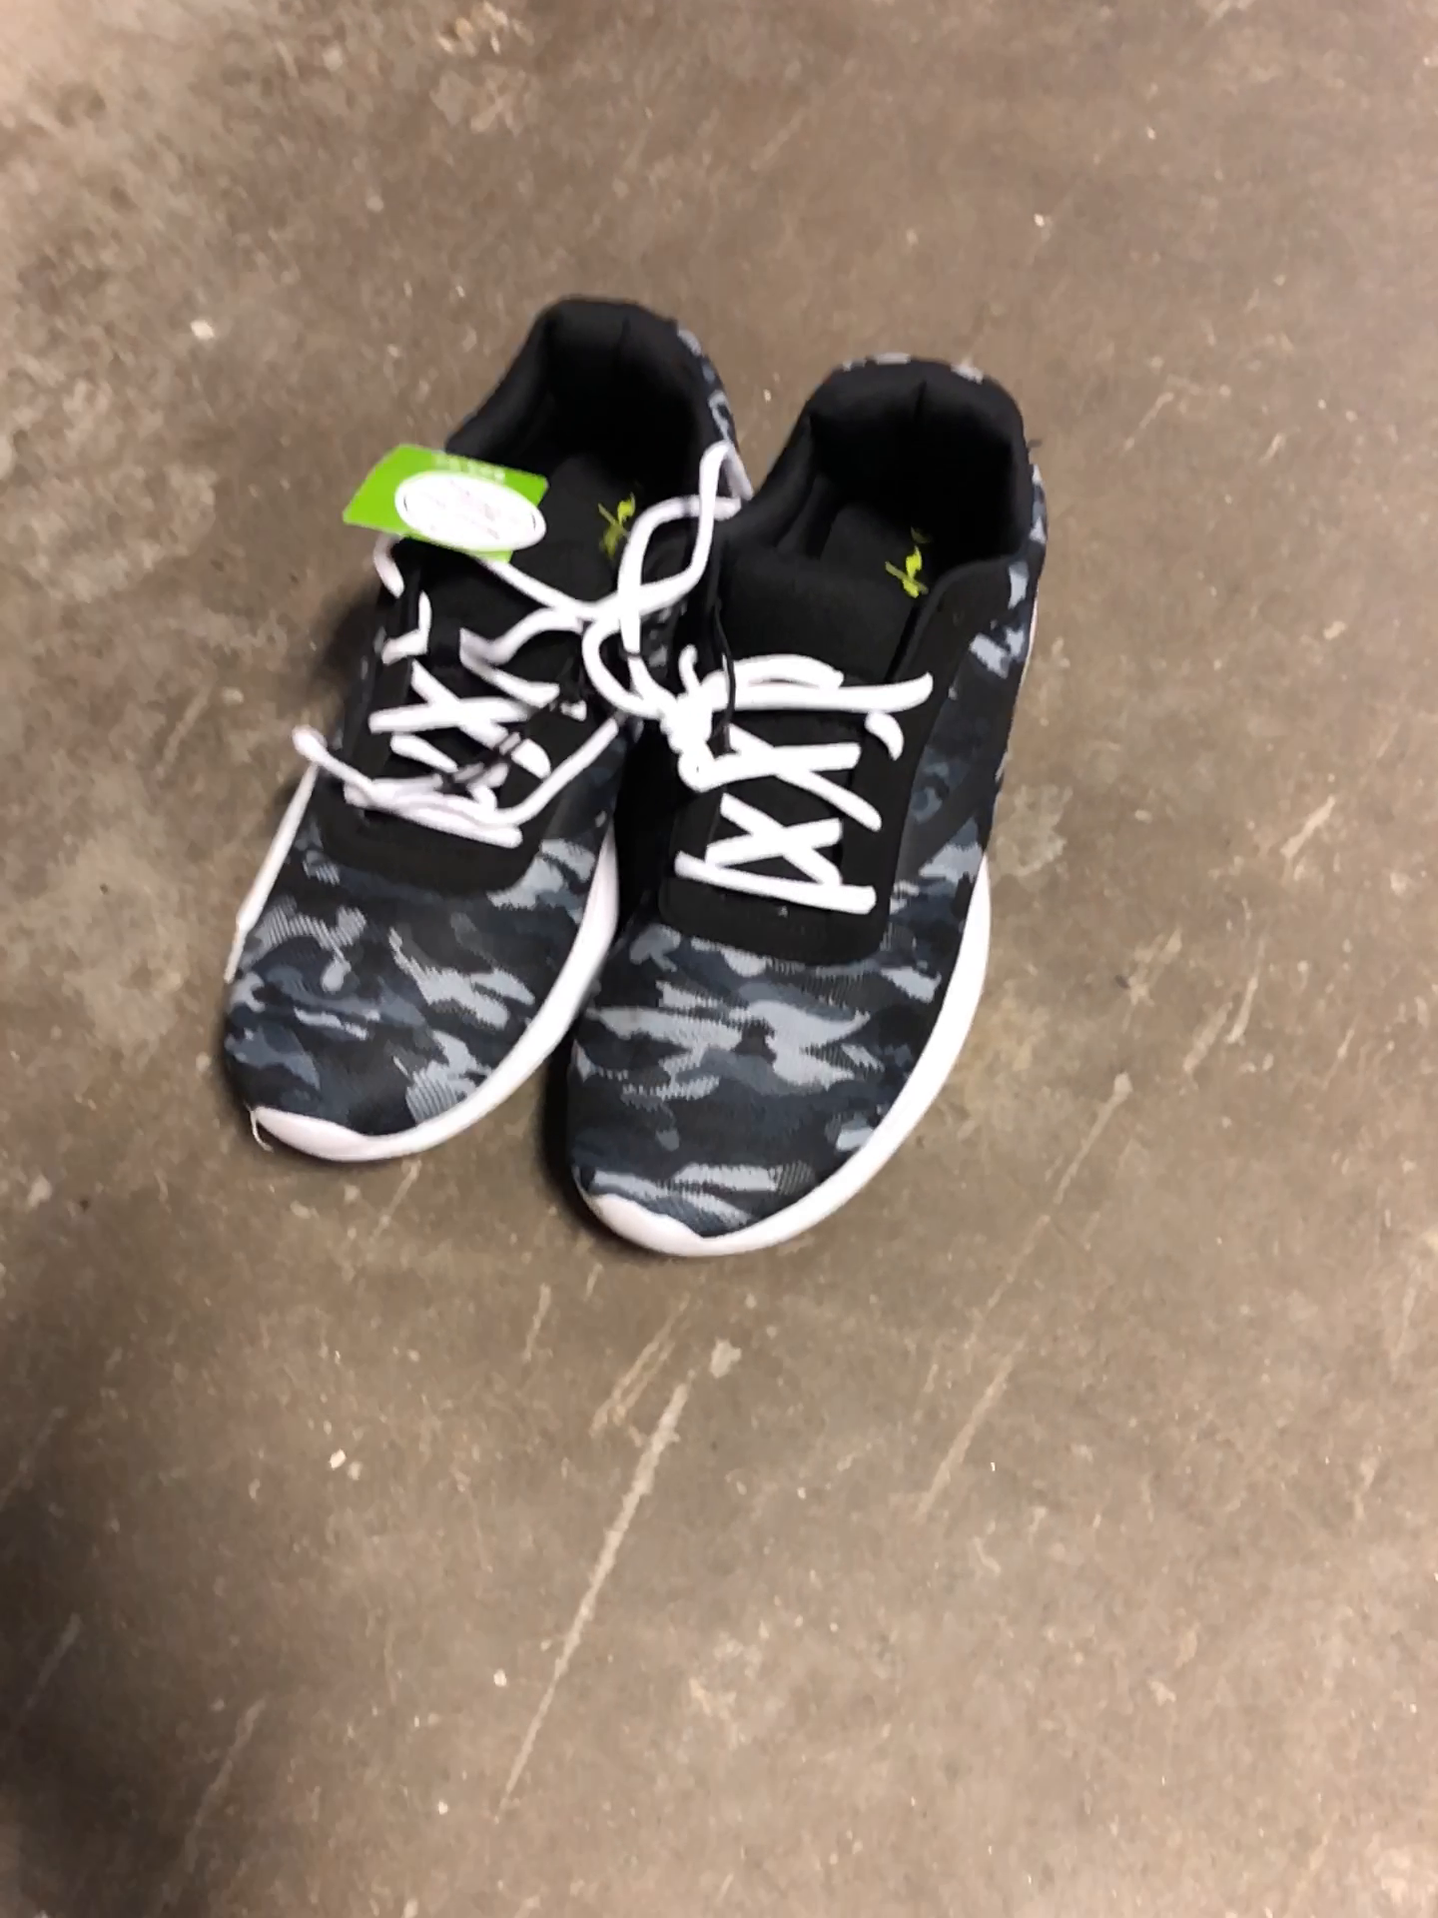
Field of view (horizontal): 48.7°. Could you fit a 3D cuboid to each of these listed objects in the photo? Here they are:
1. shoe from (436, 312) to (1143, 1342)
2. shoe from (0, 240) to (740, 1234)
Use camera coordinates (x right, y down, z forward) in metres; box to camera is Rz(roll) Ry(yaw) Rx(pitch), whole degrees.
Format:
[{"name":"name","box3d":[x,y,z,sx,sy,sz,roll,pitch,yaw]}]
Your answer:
[{"name":"shoe","box3d":[0.032,-0.044,0.485,0.120,0.139,0.261,15,62,10]},{"name":"shoe","box3d":[-0.086,-0.072,0.497,0.110,0.139,0.261,15,62,10]}]
